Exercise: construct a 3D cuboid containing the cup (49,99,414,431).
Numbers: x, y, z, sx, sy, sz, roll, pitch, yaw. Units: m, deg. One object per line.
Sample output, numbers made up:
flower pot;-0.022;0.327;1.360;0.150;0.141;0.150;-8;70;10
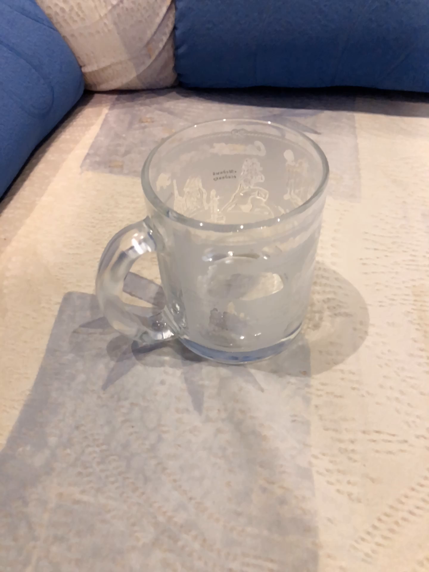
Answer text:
cup;0.006;-0.016;0.223;0.120;0.079;0.090;-24;50;-16
